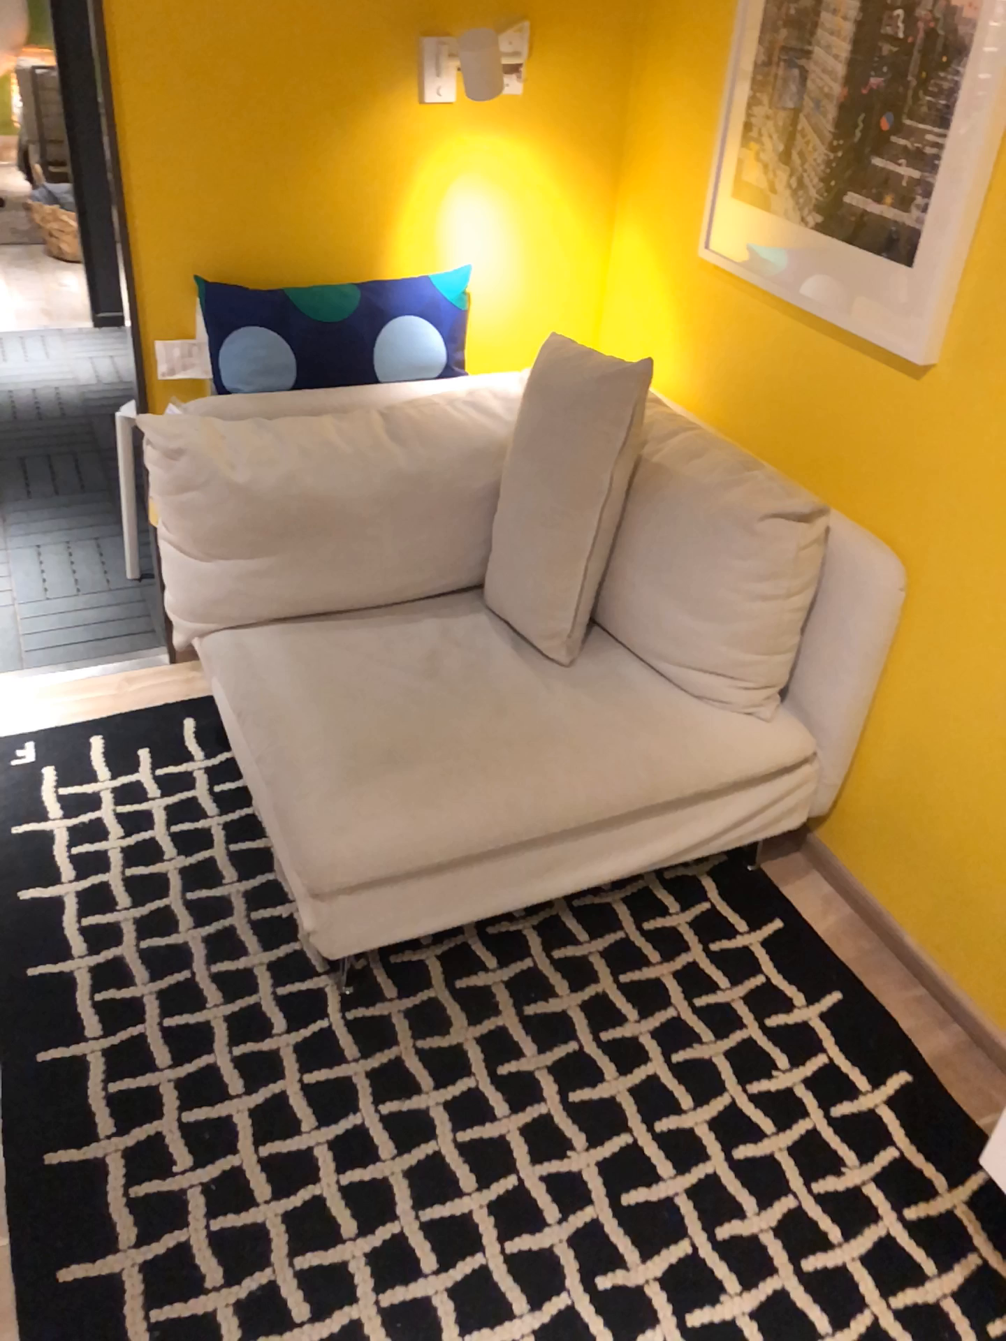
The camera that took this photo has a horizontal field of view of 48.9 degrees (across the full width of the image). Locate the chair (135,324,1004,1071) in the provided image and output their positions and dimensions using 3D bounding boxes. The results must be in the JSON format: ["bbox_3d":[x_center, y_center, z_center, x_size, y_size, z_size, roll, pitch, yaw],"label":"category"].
[{"bbox_3d":[0.017,-0.079,2.042,1.111,0.755,1.016,-11,36,-22],"label":"chair"}]
